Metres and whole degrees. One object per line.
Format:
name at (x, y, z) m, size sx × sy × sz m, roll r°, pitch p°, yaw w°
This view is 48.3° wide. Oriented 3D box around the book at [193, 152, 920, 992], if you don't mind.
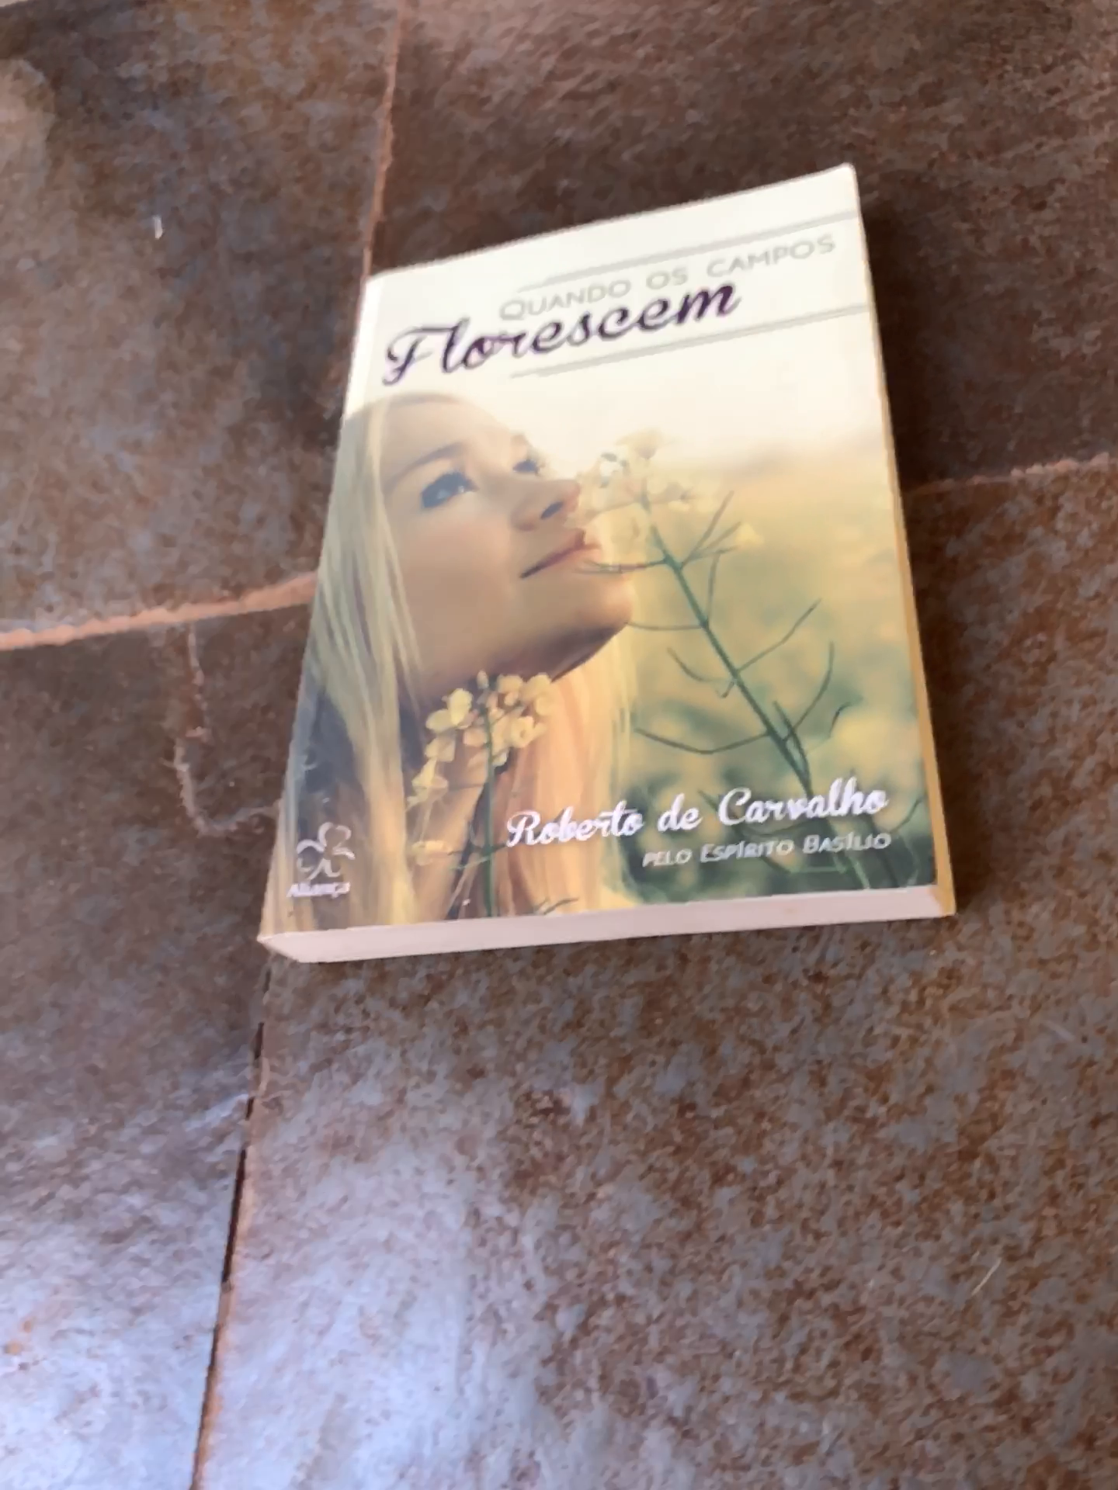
book at (-0.001, -0.053, 0.328) m, size 0.161 × 0.022 × 0.226 m, roll -7°, pitch 60°, yaw 16°
